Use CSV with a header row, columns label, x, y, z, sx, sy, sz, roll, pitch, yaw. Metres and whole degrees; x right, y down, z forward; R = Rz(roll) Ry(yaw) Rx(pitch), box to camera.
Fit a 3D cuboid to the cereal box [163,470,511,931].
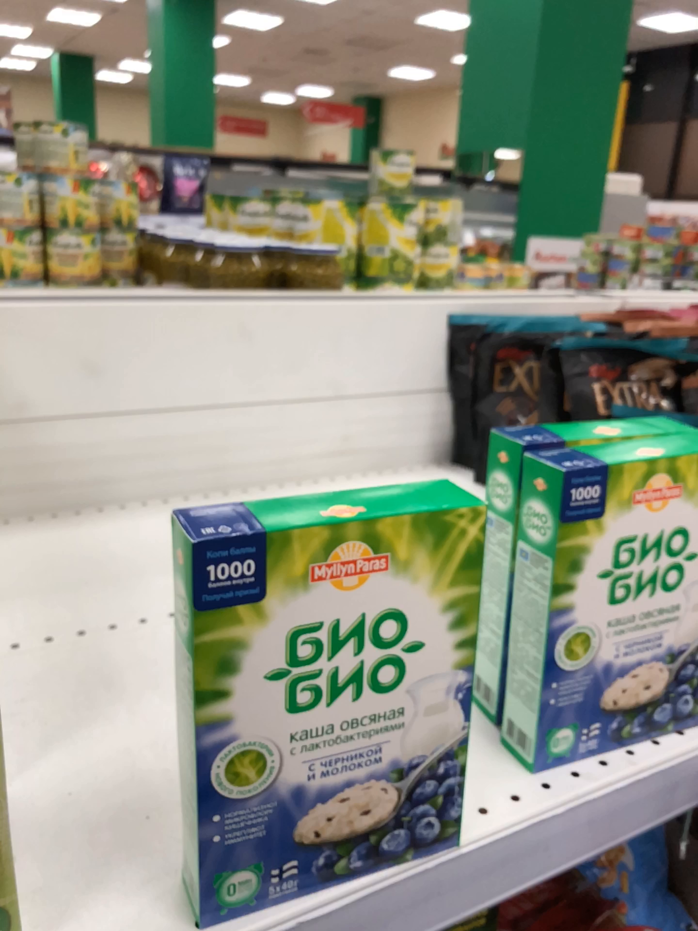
label,x,y,z,sx,sy,sz,roll,pitch,yaw
cereal box,-0.006,0.115,0.392,0.160,0.209,0.040,-5,17,-24
